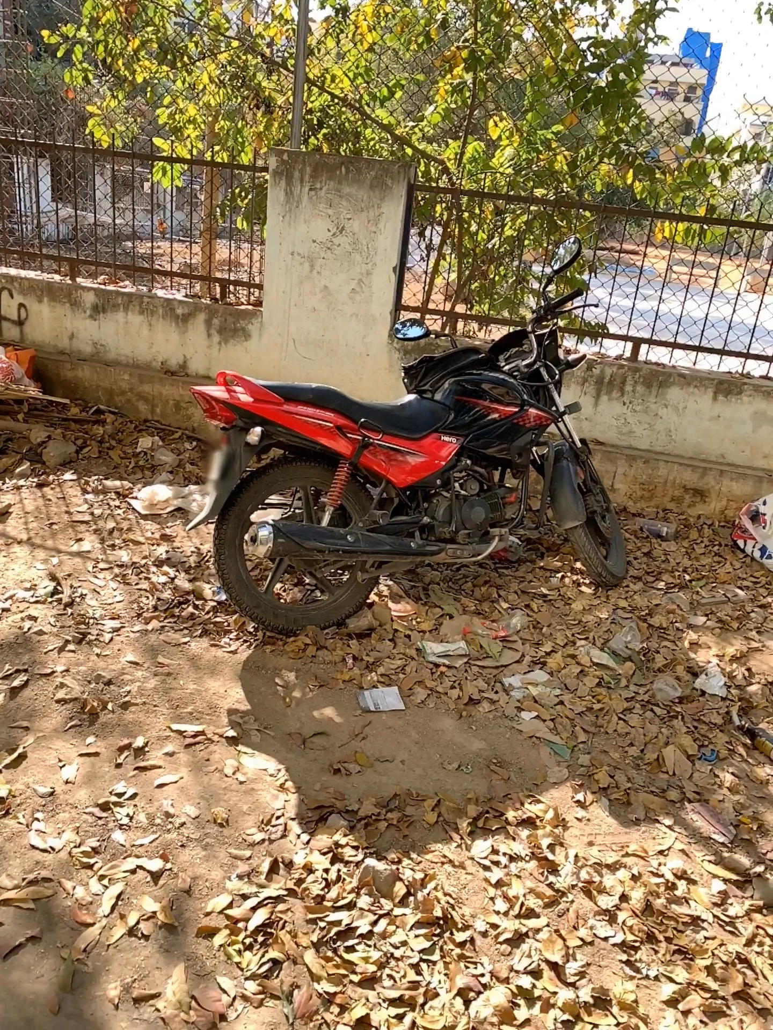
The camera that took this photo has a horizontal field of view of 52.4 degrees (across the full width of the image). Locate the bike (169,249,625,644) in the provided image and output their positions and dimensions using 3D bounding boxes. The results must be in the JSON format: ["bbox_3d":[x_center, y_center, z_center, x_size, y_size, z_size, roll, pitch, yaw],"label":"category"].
[{"bbox_3d":[-0.034,-0.352,2.848,1.291,1.068,0.825,-8,26,-26],"label":"bike"}]
